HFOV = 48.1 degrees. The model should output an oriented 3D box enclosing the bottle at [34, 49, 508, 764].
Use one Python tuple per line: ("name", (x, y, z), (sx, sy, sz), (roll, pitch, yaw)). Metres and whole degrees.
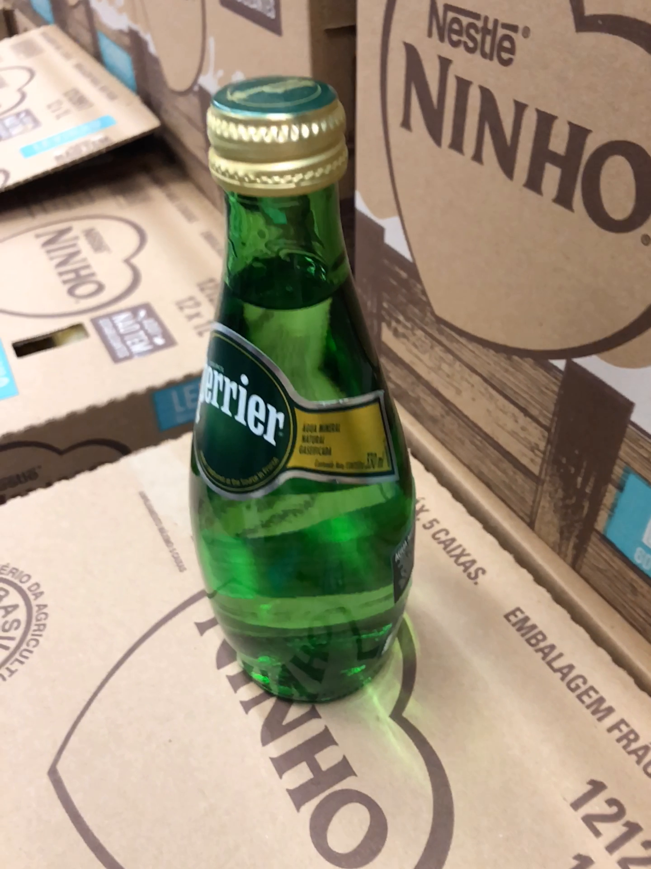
("bottle", (-0.009, 0.004, 0.201), (0.070, 0.179, 0.060), (28, 50, 30))
